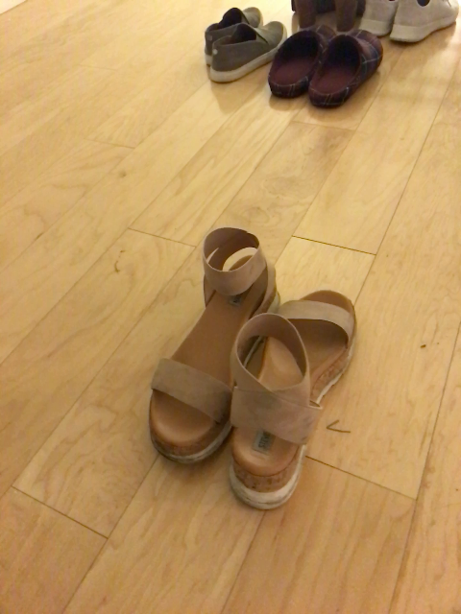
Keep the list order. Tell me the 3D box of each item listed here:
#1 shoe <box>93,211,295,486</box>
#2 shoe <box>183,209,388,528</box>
[{"bbox_3d":[-0.018,0.035,0.545,0.100,0.139,0.252,15,51,20],"label":"shoe"},{"bbox_3d":[0.073,0.048,0.524,0.100,0.139,0.292,15,51,20],"label":"shoe"}]
